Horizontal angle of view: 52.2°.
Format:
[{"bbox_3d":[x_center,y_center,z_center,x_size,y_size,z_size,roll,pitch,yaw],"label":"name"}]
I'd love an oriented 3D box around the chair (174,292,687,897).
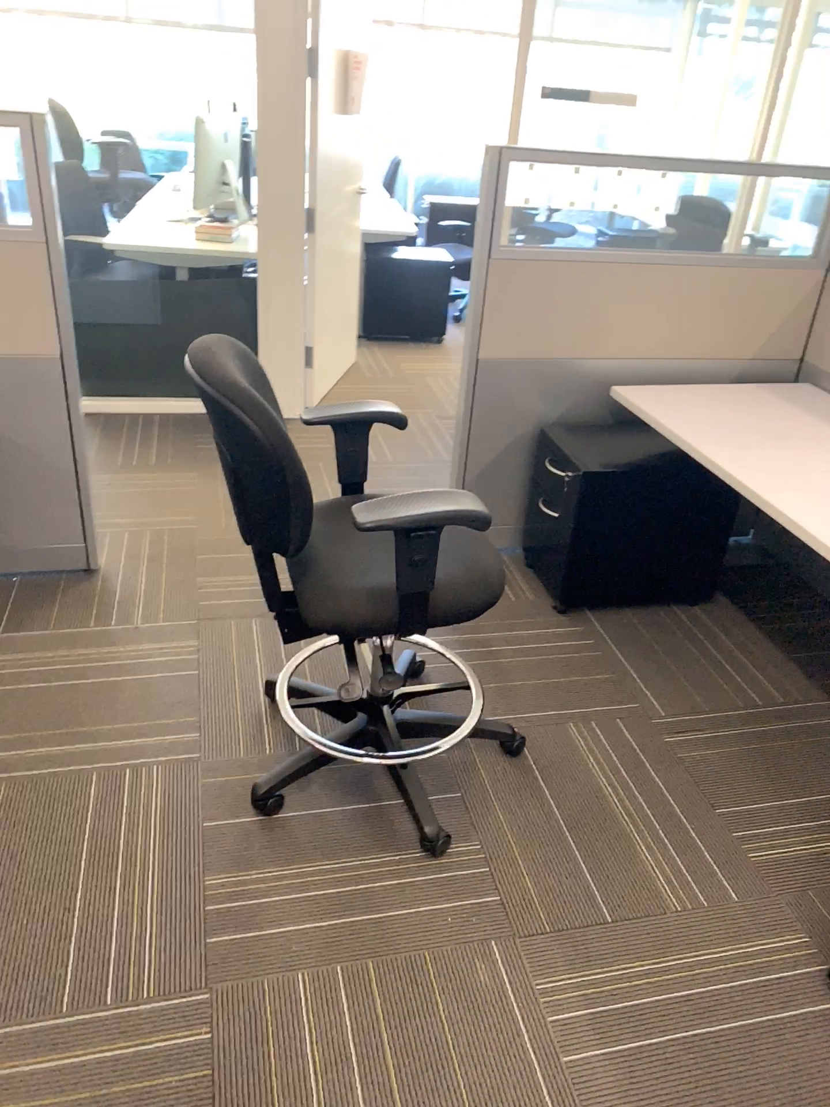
[{"bbox_3d":[-0.078,0.026,1.900,0.820,1.004,0.805,-4,30,-16],"label":"chair"}]
